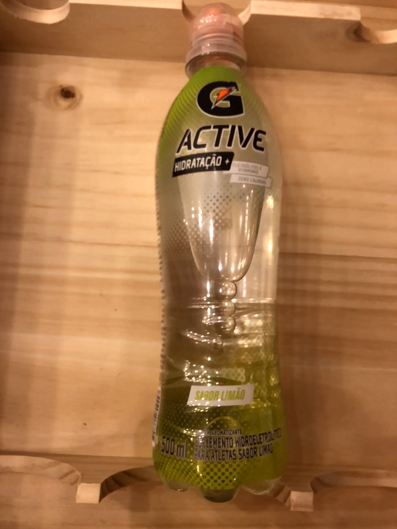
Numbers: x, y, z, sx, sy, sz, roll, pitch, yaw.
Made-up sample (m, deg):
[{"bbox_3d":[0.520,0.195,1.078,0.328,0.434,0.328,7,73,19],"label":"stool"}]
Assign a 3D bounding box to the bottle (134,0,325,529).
[{"bbox_3d":[0.010,-0.027,0.222,0.070,0.070,0.270,0,80,-2],"label":"bottle"}]
